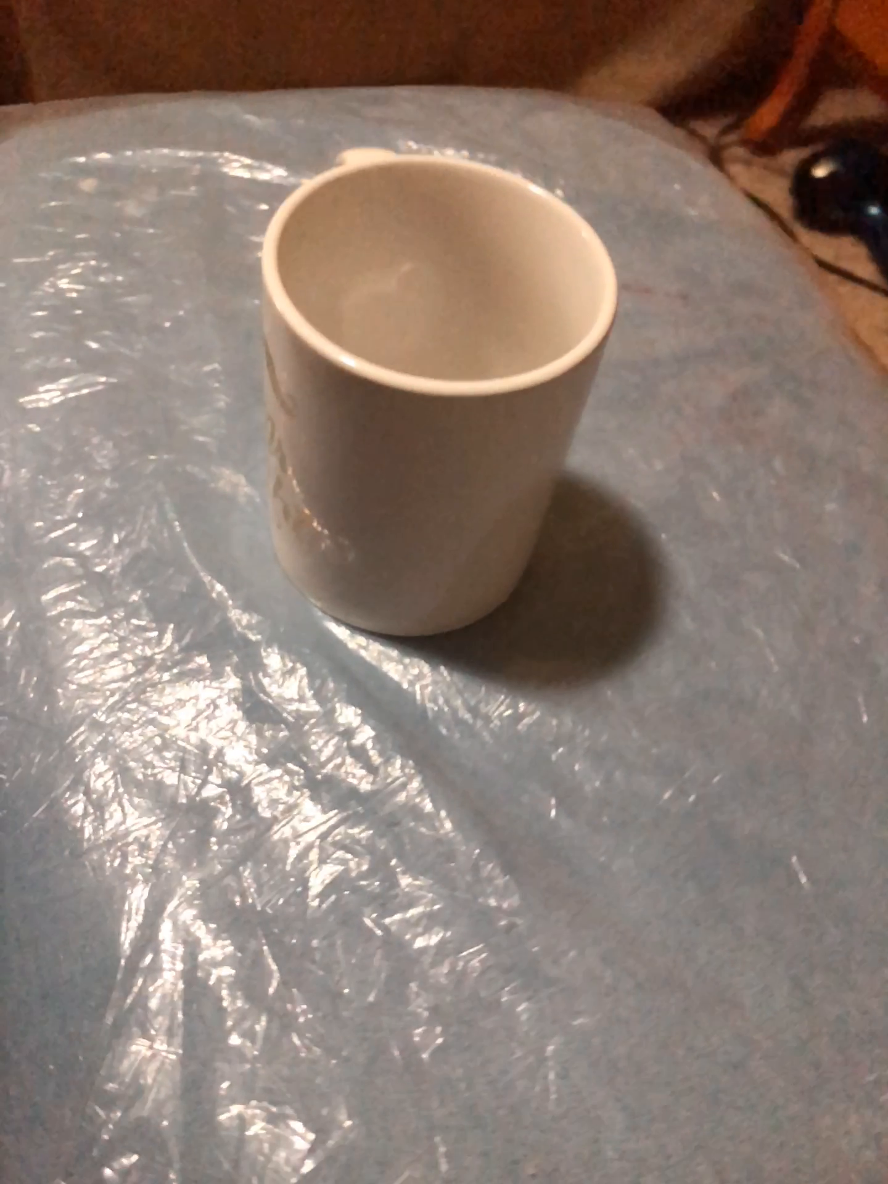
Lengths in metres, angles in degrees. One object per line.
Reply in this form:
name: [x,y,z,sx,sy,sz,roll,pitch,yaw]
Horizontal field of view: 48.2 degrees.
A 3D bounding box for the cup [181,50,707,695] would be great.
cup: [-0.015,-0.065,0.291,0.100,0.110,0.140,-7,58,-16]
